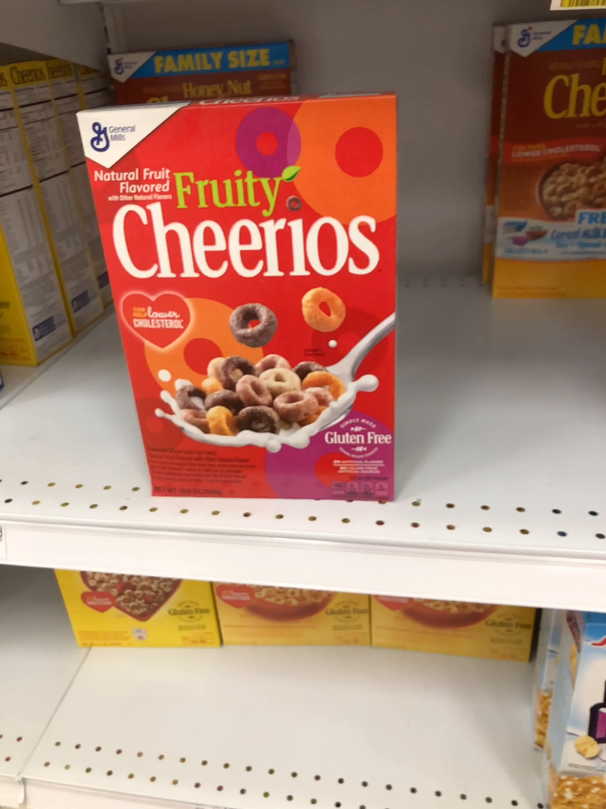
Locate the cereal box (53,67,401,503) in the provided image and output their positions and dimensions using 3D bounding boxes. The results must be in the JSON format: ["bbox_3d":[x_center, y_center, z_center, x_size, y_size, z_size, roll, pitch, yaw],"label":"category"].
[{"bbox_3d":[-0.033,-0.068,0.478,0.200,0.289,0.060,0,29,9],"label":"cereal box"}]
